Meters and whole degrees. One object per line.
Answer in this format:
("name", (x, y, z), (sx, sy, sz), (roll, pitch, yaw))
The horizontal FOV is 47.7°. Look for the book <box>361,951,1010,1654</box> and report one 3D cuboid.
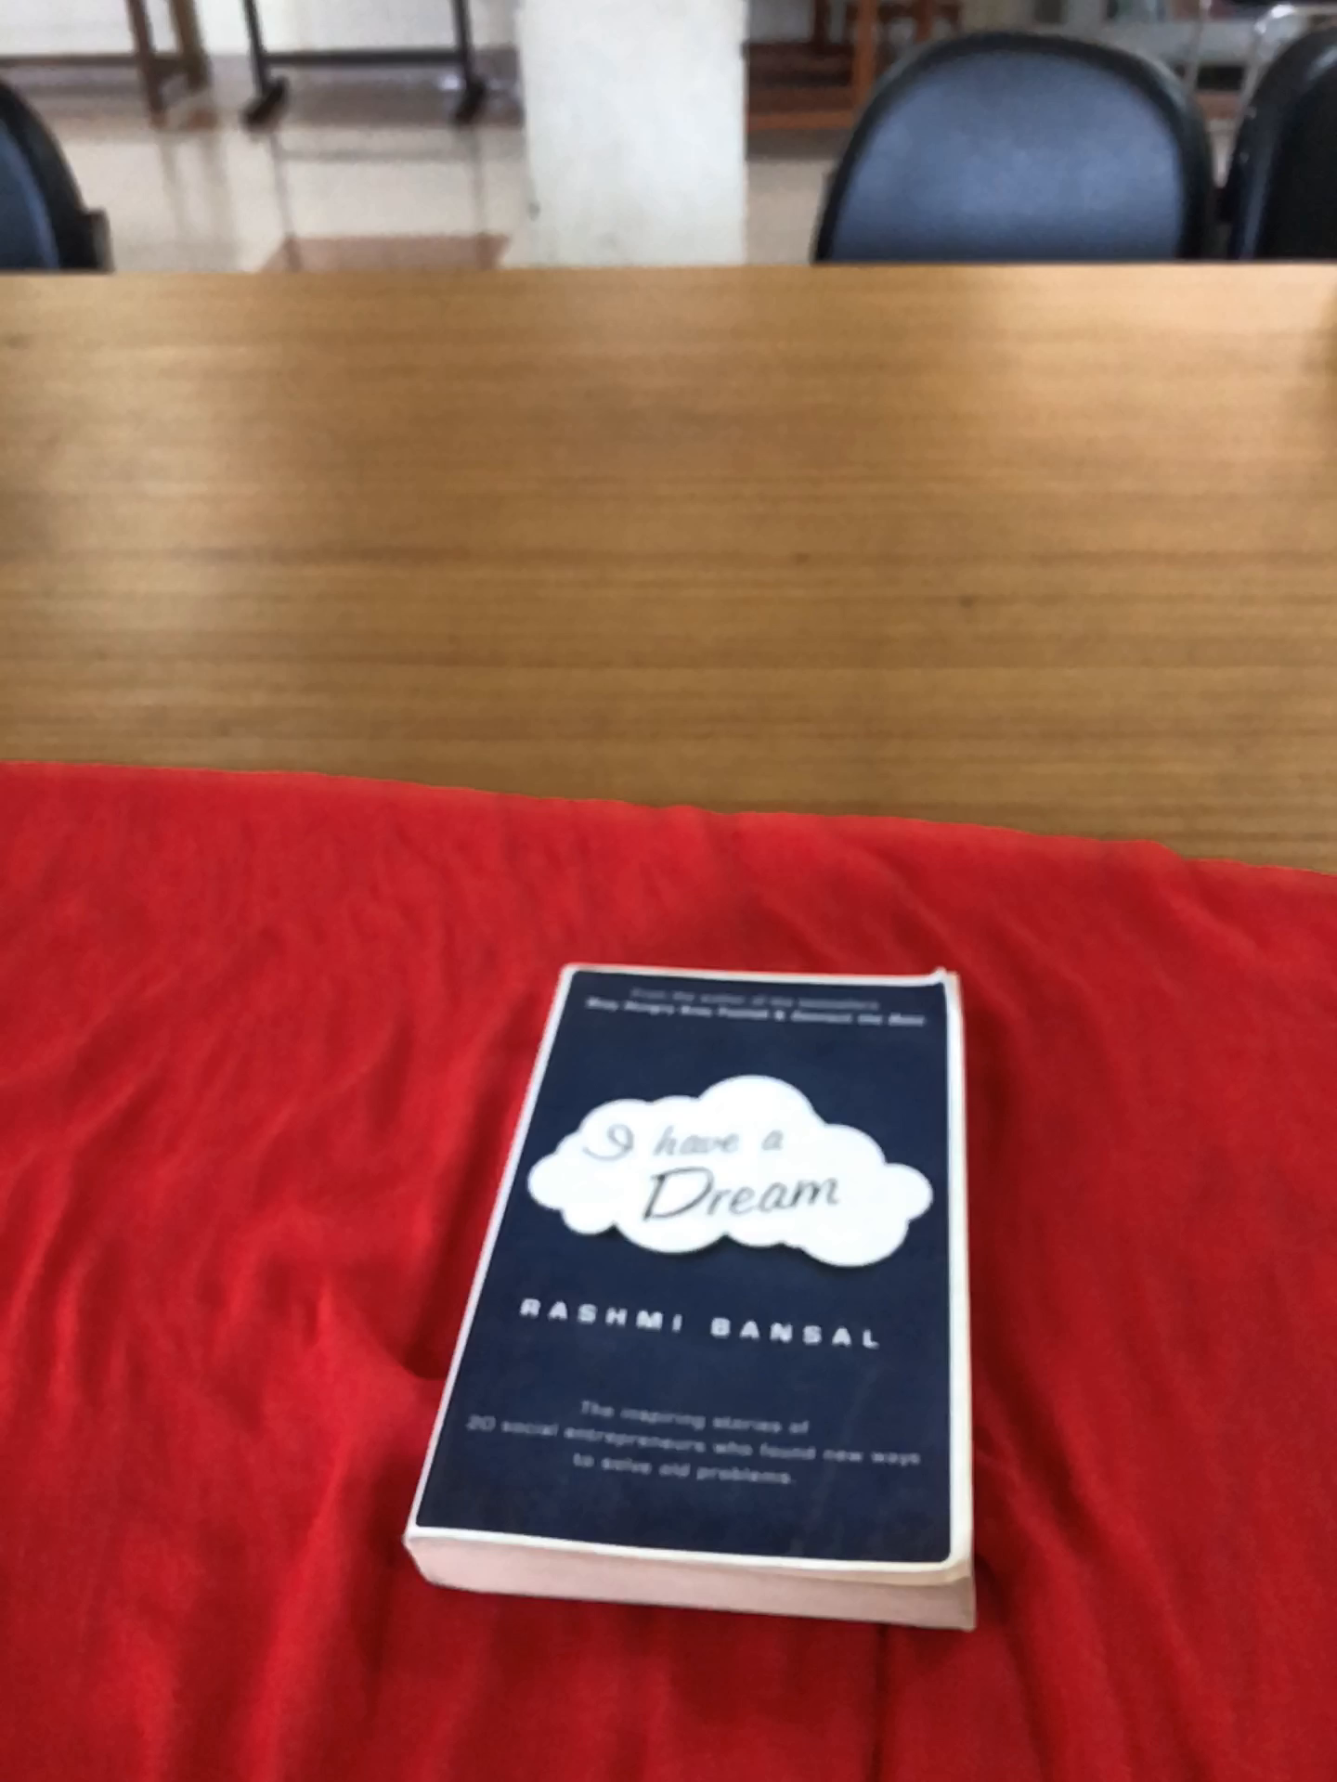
("book", (0.016, 0.094, 0.407), (0.140, 0.040, 0.191), (0, 38, 10))
